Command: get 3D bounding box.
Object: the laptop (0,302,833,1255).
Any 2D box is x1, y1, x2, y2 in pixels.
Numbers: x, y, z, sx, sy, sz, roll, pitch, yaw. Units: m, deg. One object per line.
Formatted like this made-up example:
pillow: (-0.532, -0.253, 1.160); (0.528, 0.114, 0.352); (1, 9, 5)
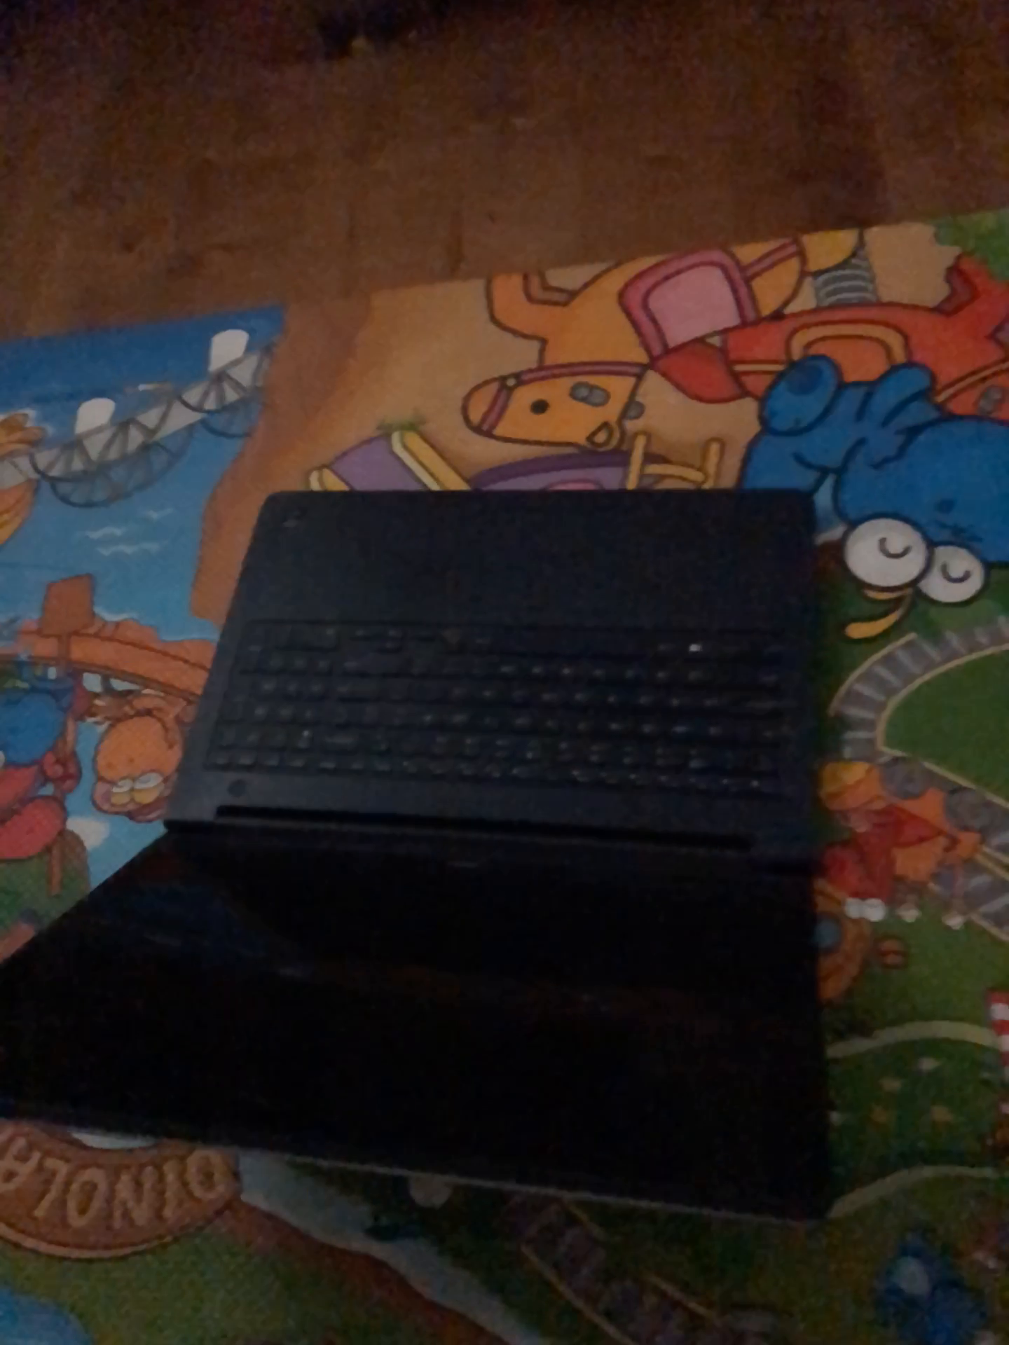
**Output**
laptop: (-0.029, 0.026, 0.568); (0.361, 0.158, 0.430); (2, 59, 13)
